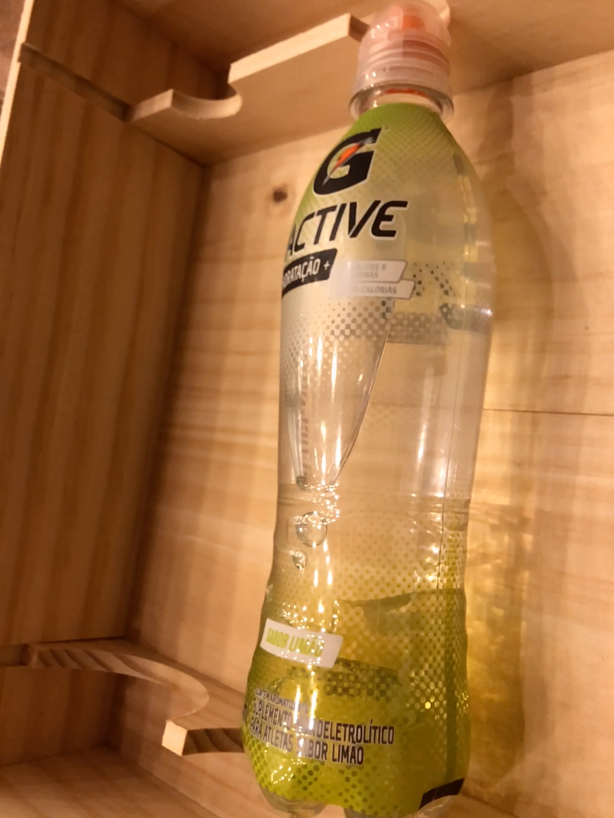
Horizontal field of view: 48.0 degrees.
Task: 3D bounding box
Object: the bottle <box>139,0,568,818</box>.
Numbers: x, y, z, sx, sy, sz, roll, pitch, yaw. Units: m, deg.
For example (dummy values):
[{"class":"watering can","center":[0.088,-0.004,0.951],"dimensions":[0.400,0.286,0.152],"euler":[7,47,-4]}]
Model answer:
[{"class":"bottle","center":[0.022,-0.020,0.207],"dimensions":[0.070,0.070,0.270],"euler":[0,78,40]}]
